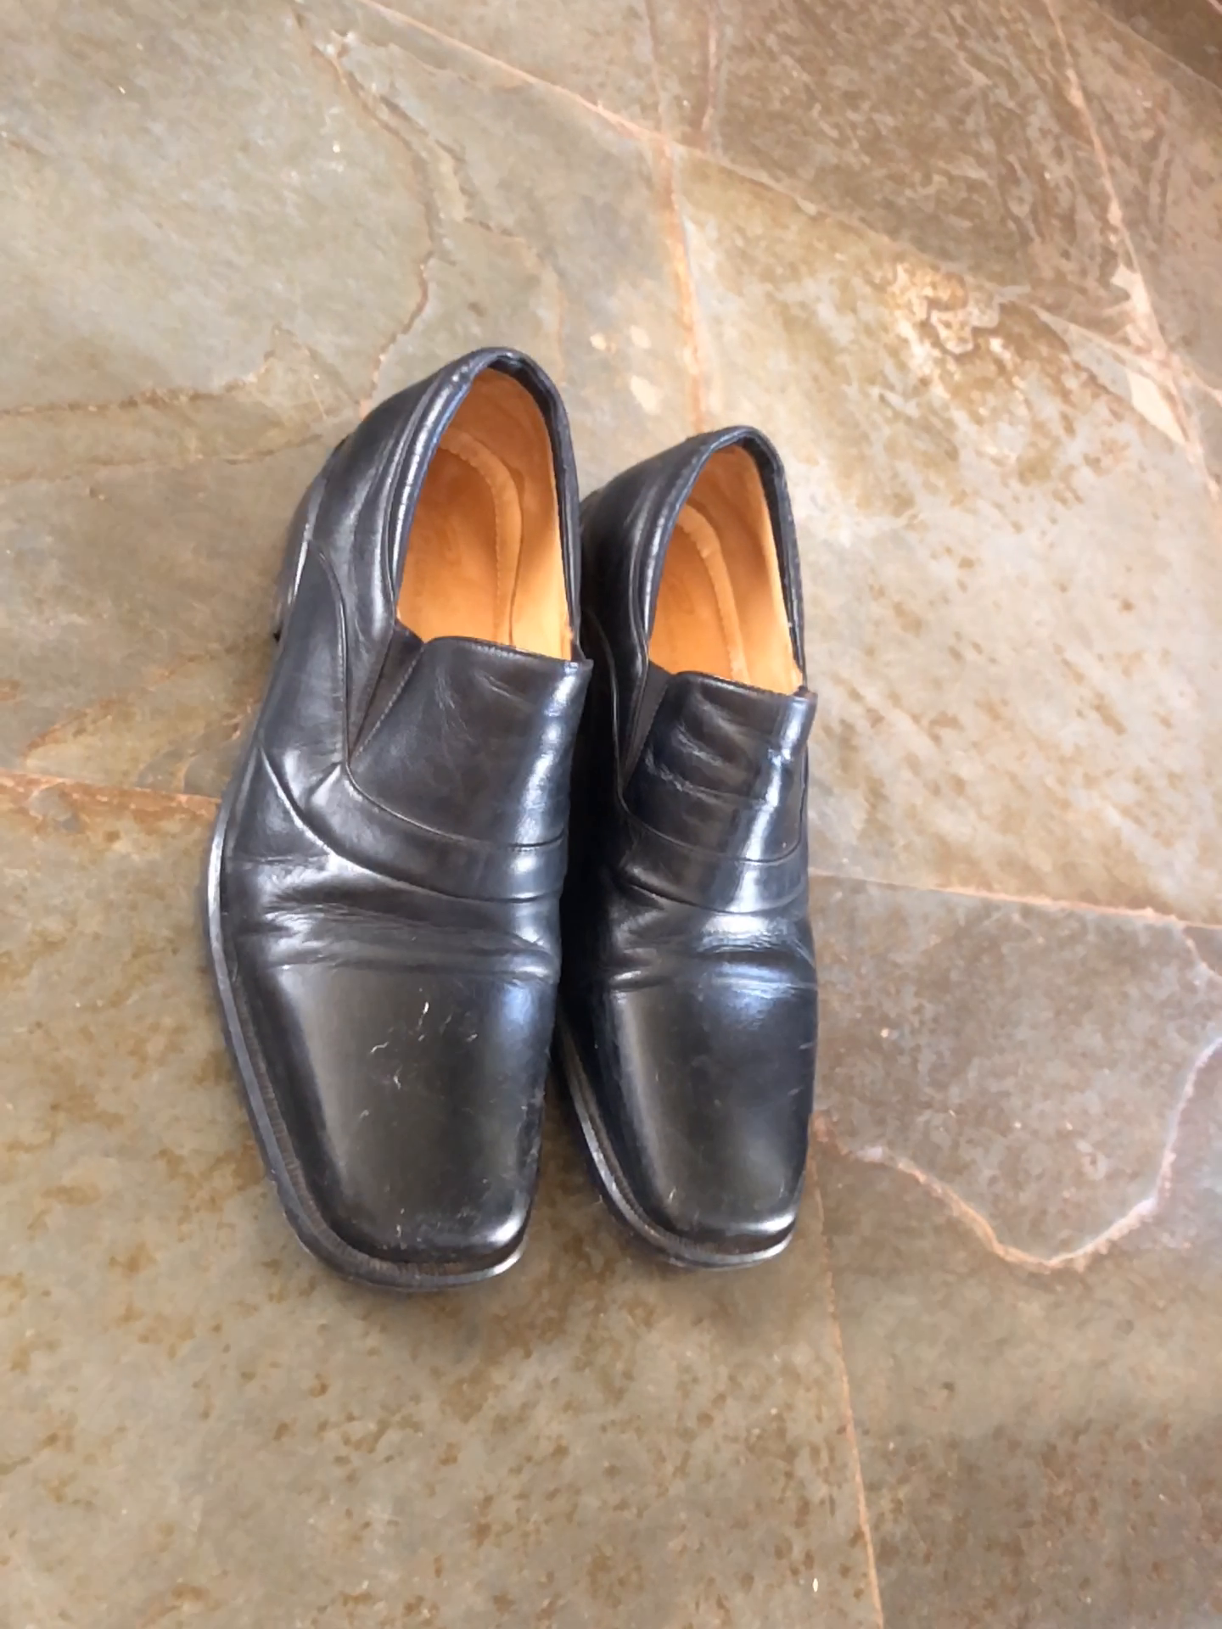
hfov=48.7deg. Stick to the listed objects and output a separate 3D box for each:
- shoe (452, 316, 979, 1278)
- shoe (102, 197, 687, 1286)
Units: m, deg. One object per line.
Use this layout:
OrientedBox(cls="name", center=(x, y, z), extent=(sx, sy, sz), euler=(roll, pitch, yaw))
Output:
OrientedBox(cls="shoe", center=(0.020, -0.003, 0.442), extent=(0.100, 0.109, 0.281), euler=(11, 62, -30))
OrientedBox(cls="shoe", center=(-0.068, -0.018, 0.395), extent=(0.110, 0.109, 0.281), euler=(10, 62, -30))
